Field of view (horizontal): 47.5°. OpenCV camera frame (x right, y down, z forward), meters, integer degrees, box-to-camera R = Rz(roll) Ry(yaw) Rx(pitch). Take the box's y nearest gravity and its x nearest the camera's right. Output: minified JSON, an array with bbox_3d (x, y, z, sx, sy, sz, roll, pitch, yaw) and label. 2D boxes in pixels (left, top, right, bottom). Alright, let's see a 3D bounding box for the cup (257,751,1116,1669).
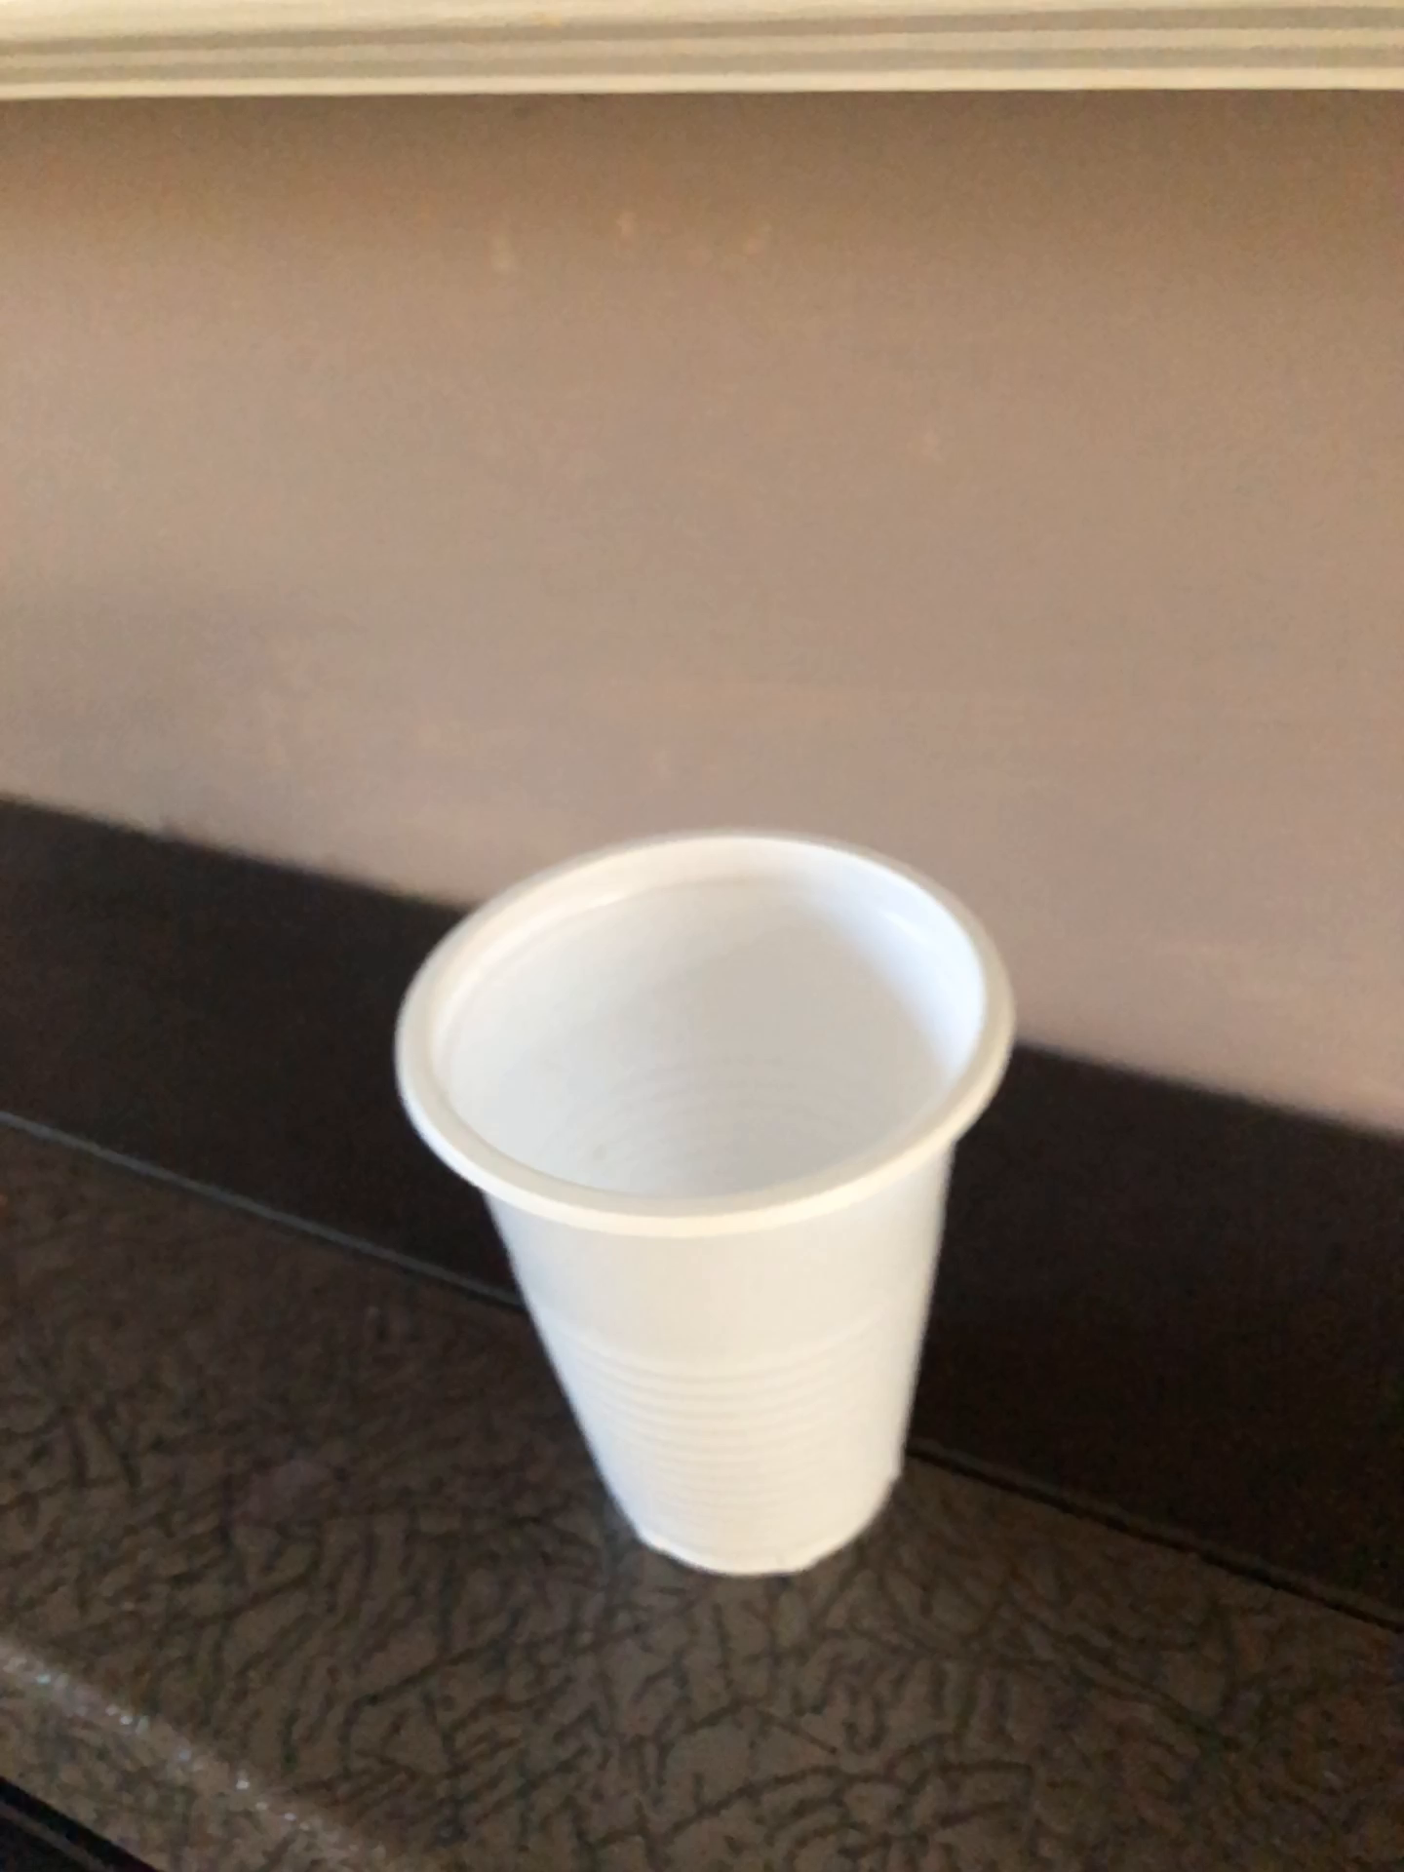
[{"bbox_3d":[0.004,0.031,0.215,0.079,0.073,0.073,-5,38,4],"label":"cup"}]
